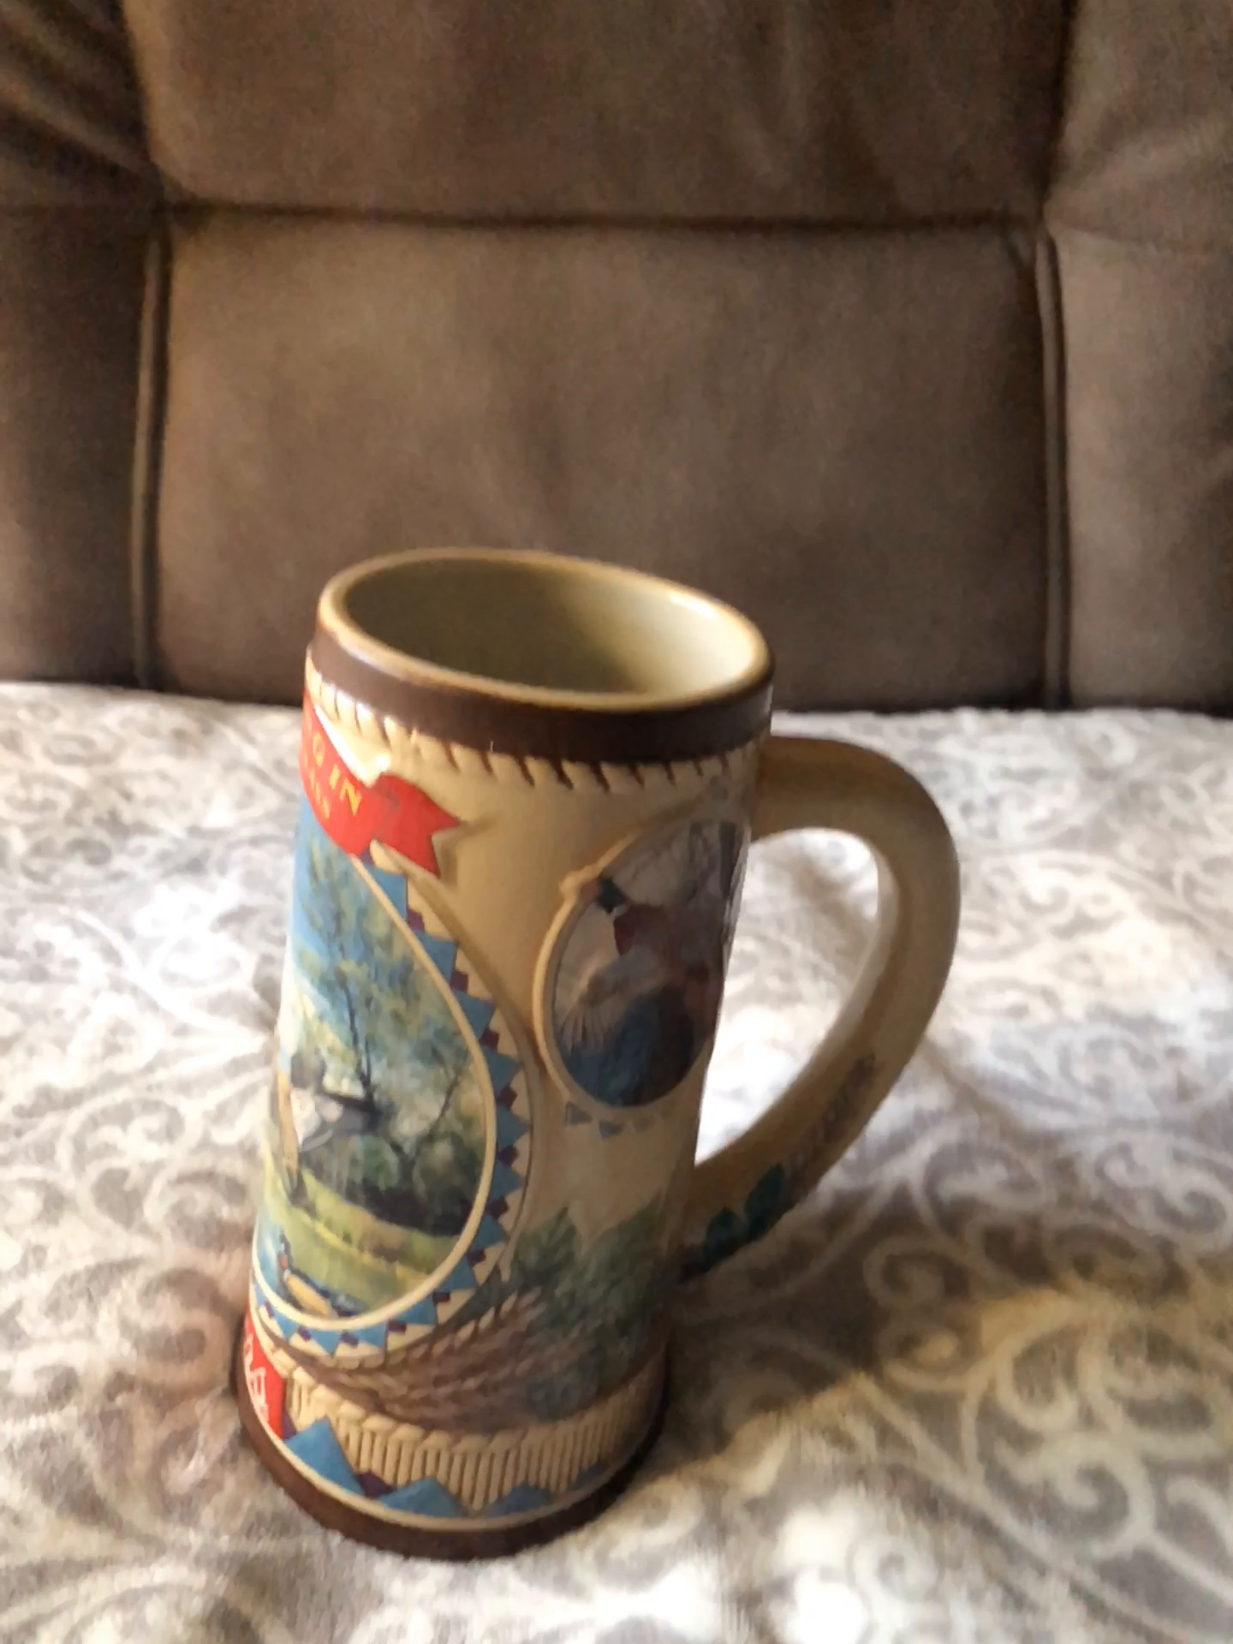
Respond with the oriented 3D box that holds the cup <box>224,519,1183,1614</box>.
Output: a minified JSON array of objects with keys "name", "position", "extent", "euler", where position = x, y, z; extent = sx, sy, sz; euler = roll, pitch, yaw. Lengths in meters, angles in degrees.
[{"name":"cup","position":[0.000,0.048,0.295],"extent":[0.144,0.188,0.099],"euler":[0,27,-21]}]
